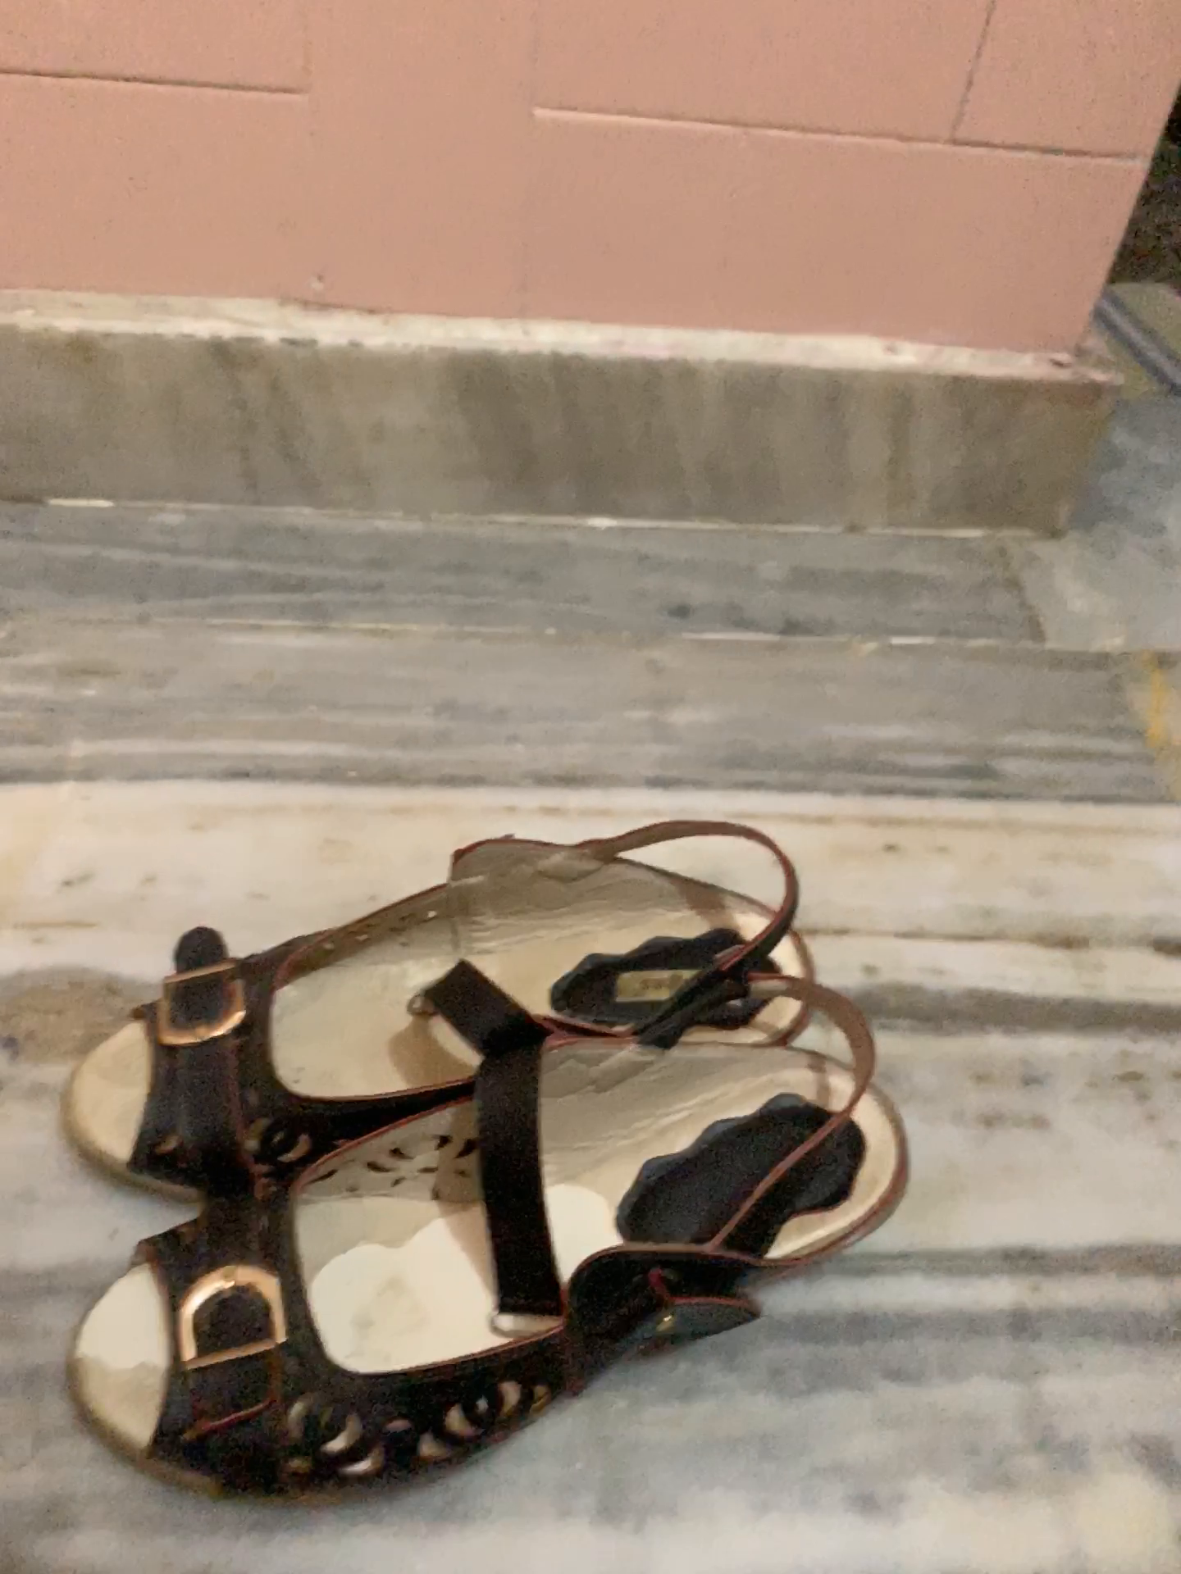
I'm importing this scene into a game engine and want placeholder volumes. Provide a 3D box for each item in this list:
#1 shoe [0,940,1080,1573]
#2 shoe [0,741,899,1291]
[{"bbox_3d":[-0.018,0.133,0.349,0.260,0.100,0.100,-7,46,-14],"label":"shoe"},{"bbox_3d":[-0.049,0.069,0.409,0.260,0.100,0.100,-7,46,-14],"label":"shoe"}]
